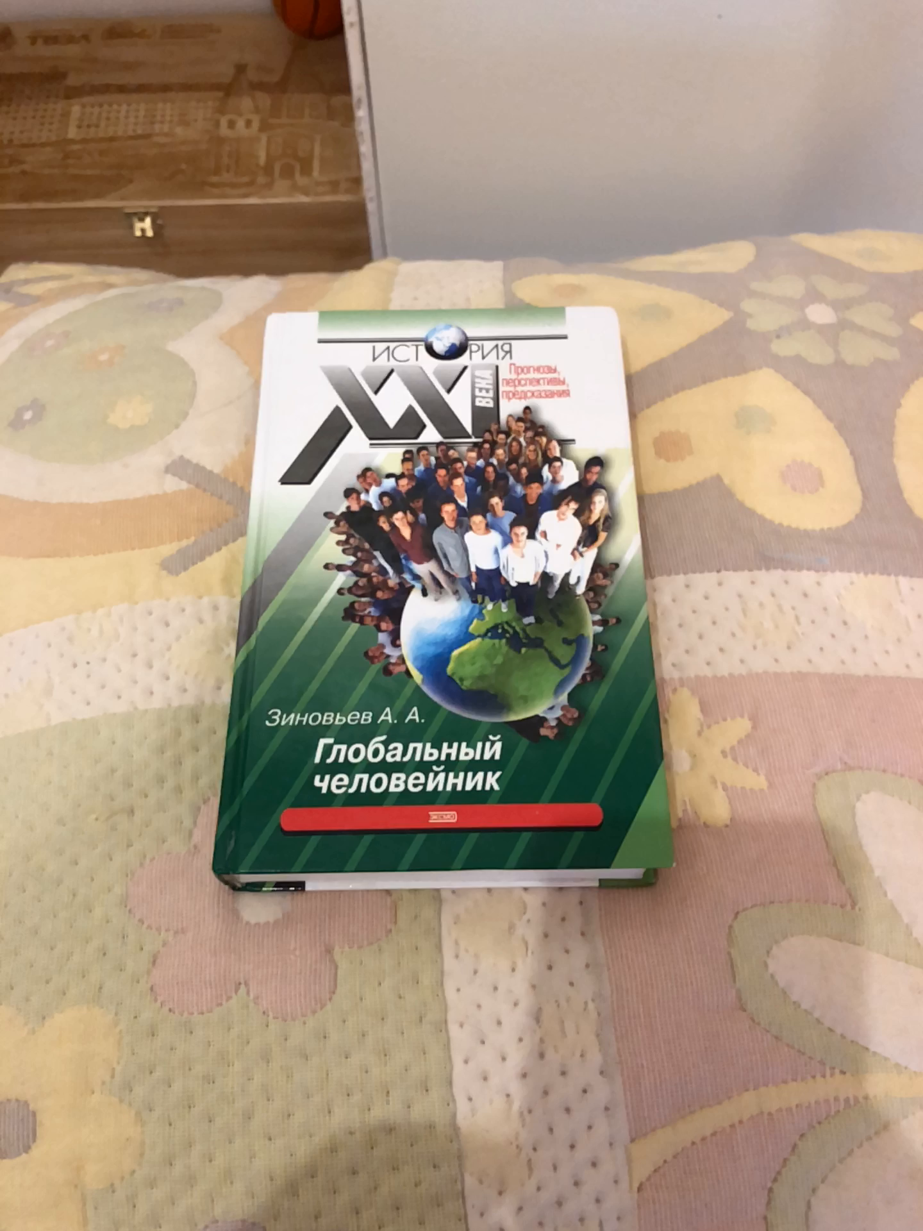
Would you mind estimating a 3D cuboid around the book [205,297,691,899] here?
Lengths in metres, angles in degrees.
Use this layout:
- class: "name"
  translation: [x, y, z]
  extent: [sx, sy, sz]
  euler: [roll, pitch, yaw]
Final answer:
- class: "book"
  translation: [-0.004, -0.015, 0.342]
  extent: [0.133, 0.036, 0.208]
  euler: [-1, 63, 0]
